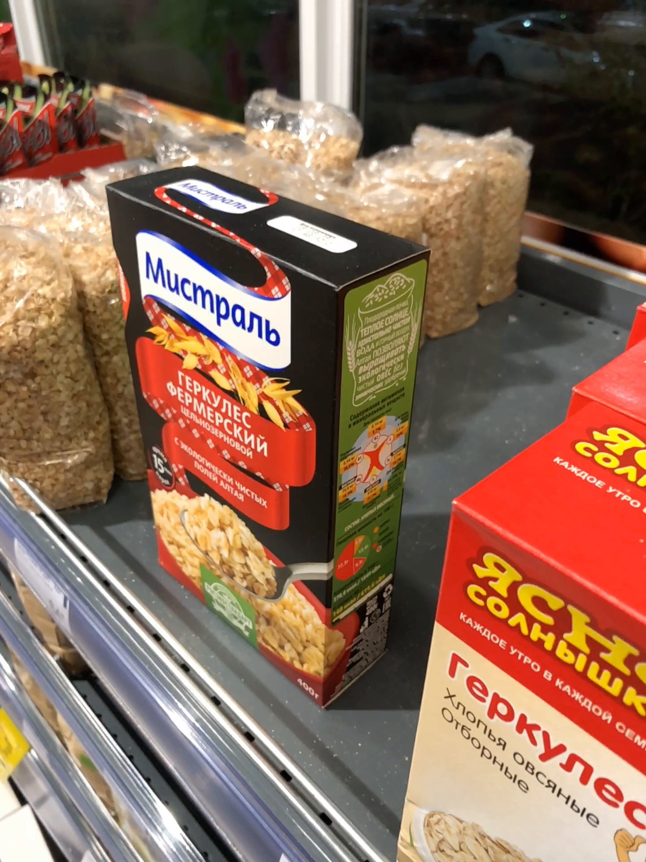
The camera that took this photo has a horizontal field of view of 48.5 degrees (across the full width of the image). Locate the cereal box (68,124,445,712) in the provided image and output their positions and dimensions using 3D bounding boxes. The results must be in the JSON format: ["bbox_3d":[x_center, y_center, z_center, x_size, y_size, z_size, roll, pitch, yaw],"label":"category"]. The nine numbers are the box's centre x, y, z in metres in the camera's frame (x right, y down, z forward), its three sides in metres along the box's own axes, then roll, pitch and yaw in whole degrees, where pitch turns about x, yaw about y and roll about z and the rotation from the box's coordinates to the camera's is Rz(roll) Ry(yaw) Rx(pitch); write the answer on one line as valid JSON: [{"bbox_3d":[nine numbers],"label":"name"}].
[{"bbox_3d":[-0.030,-0.001,0.313,0.140,0.219,0.050,30,45,34],"label":"cereal box"}]
